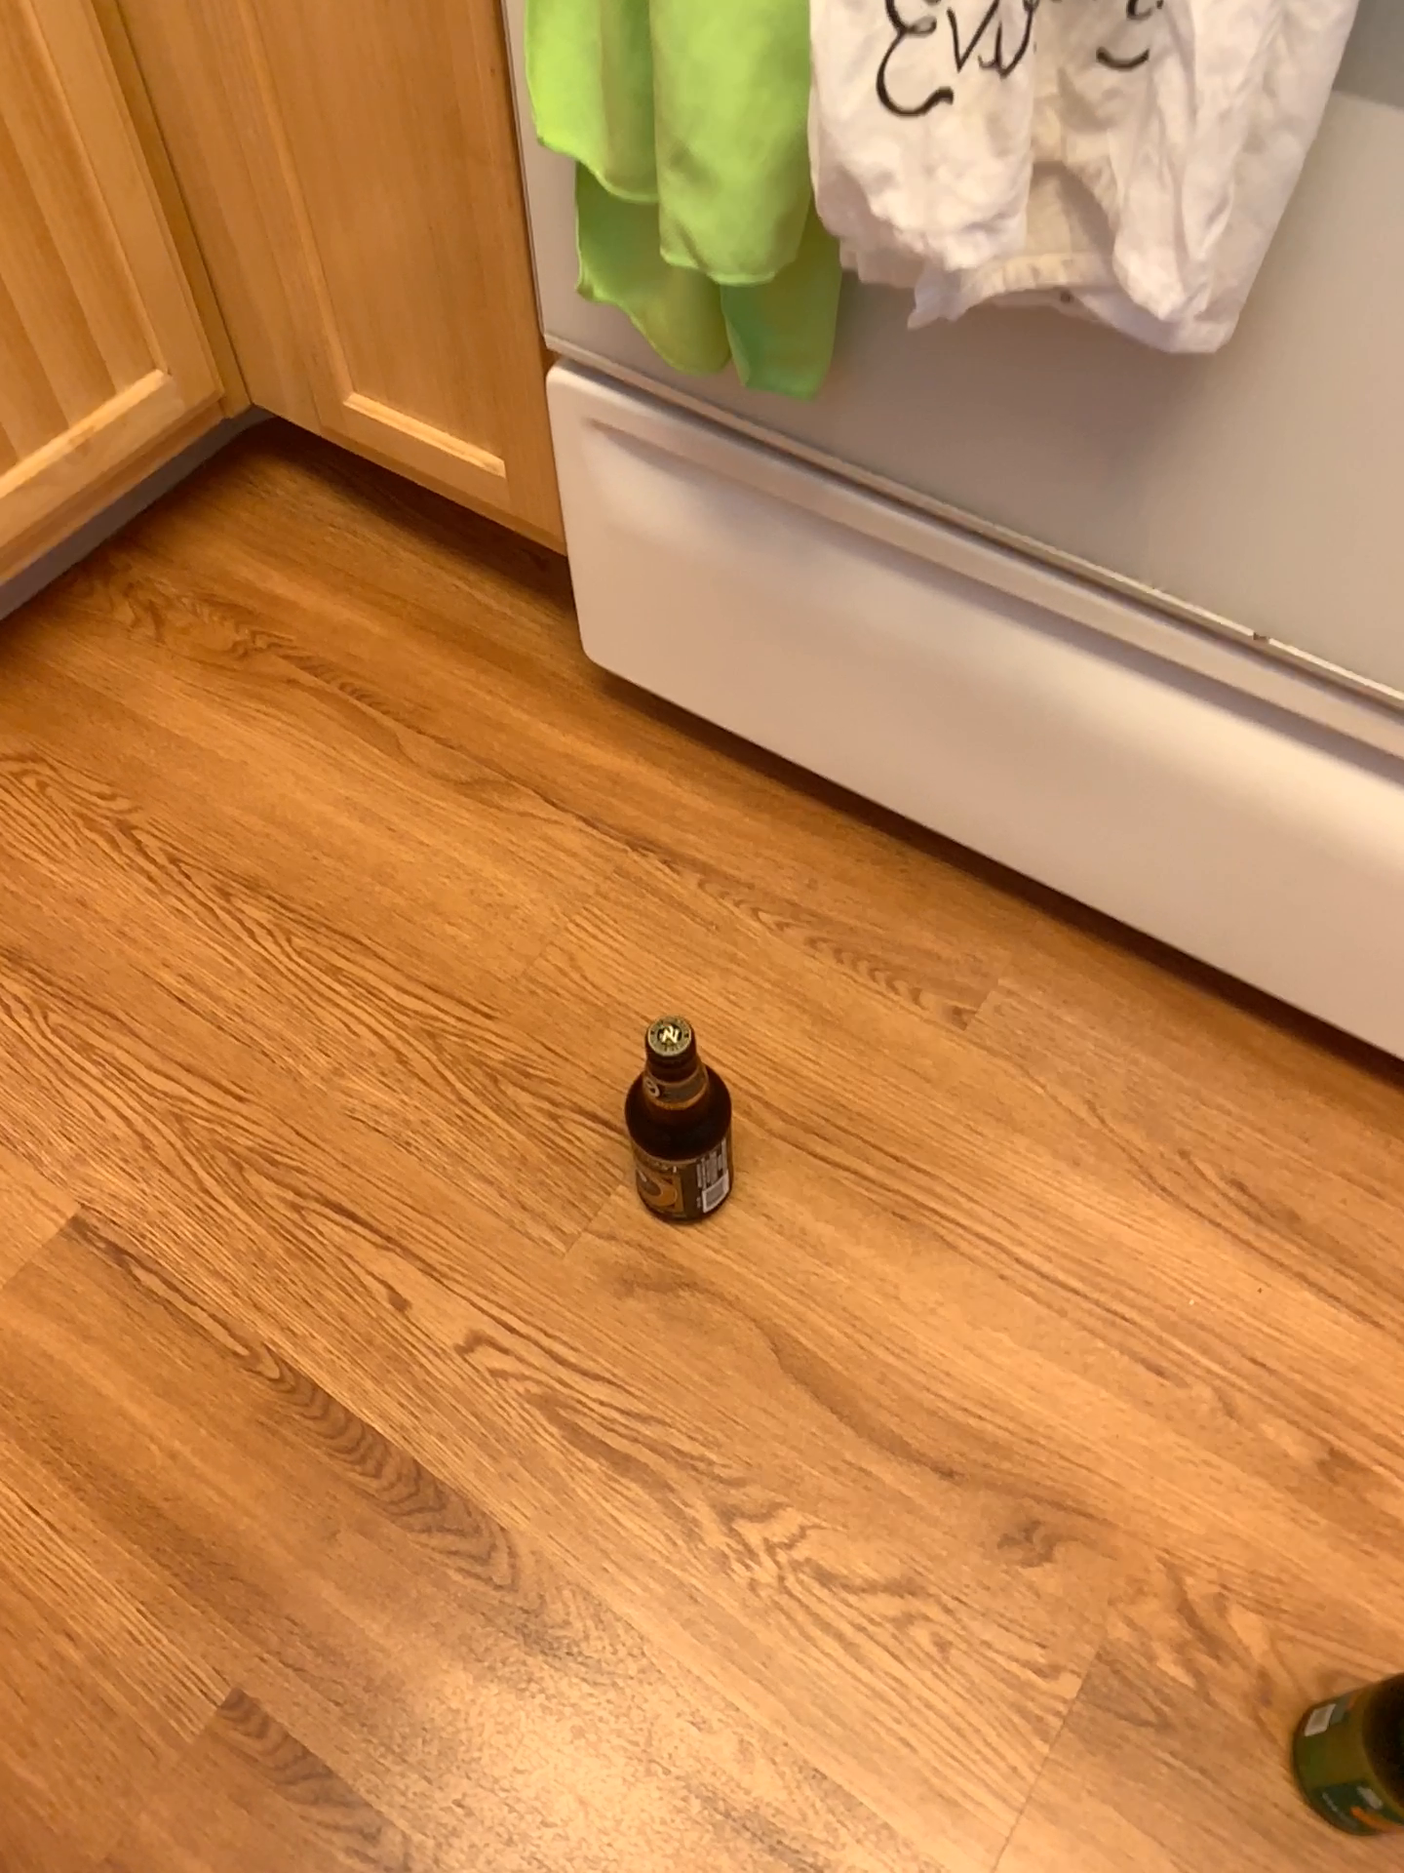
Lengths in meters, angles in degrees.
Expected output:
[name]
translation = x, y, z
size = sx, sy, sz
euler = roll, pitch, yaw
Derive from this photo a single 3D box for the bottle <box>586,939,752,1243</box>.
[bottle]
translation = -0.014, 0.094, 0.810
size = 0.060, 0.209, 0.060
euler = -1, 57, 1
